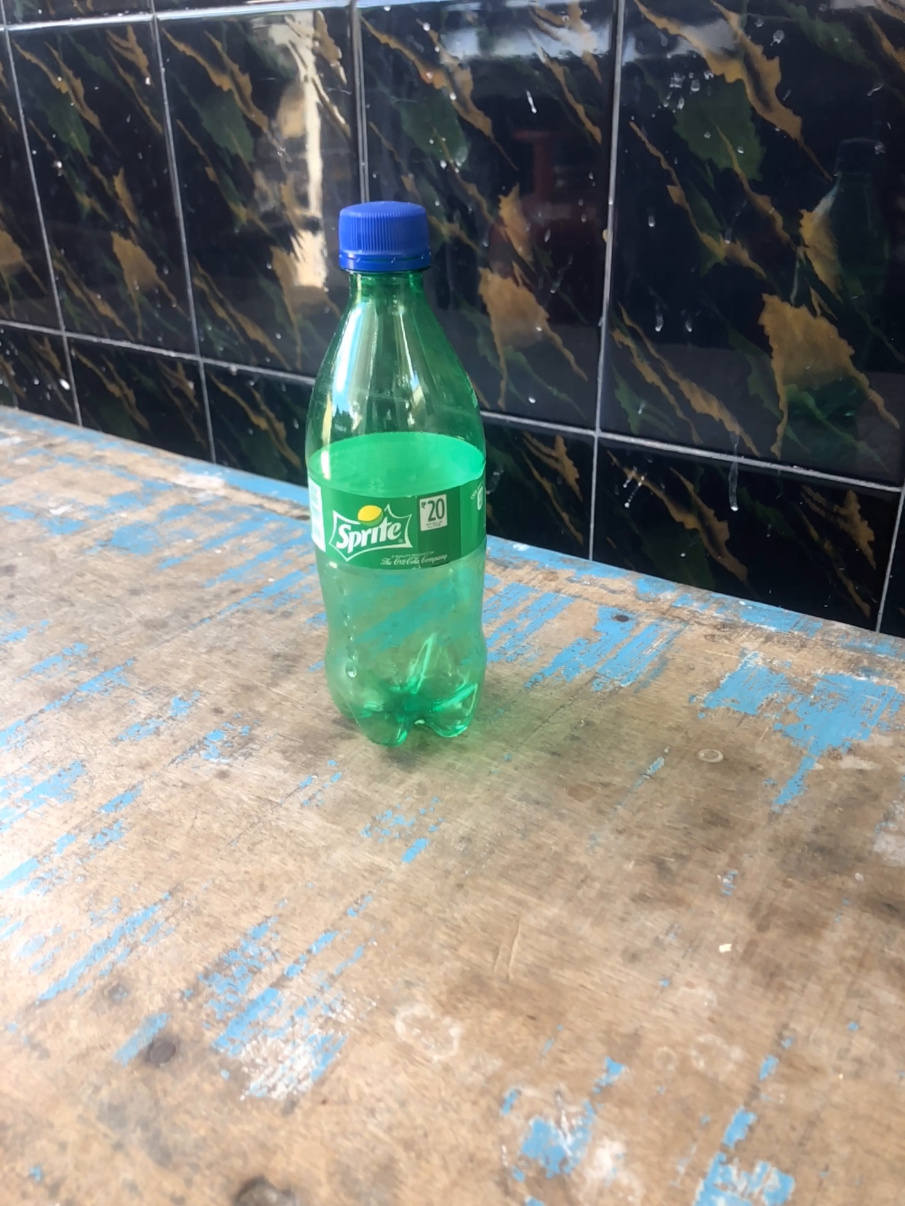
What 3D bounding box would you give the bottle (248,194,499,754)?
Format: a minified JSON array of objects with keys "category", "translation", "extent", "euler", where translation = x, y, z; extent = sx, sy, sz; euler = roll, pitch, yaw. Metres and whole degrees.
[{"category":"bottle","translation":[-0.017,-0.036,0.304],"extent":[0.060,0.159,0.050],"euler":[1,27,5]}]
